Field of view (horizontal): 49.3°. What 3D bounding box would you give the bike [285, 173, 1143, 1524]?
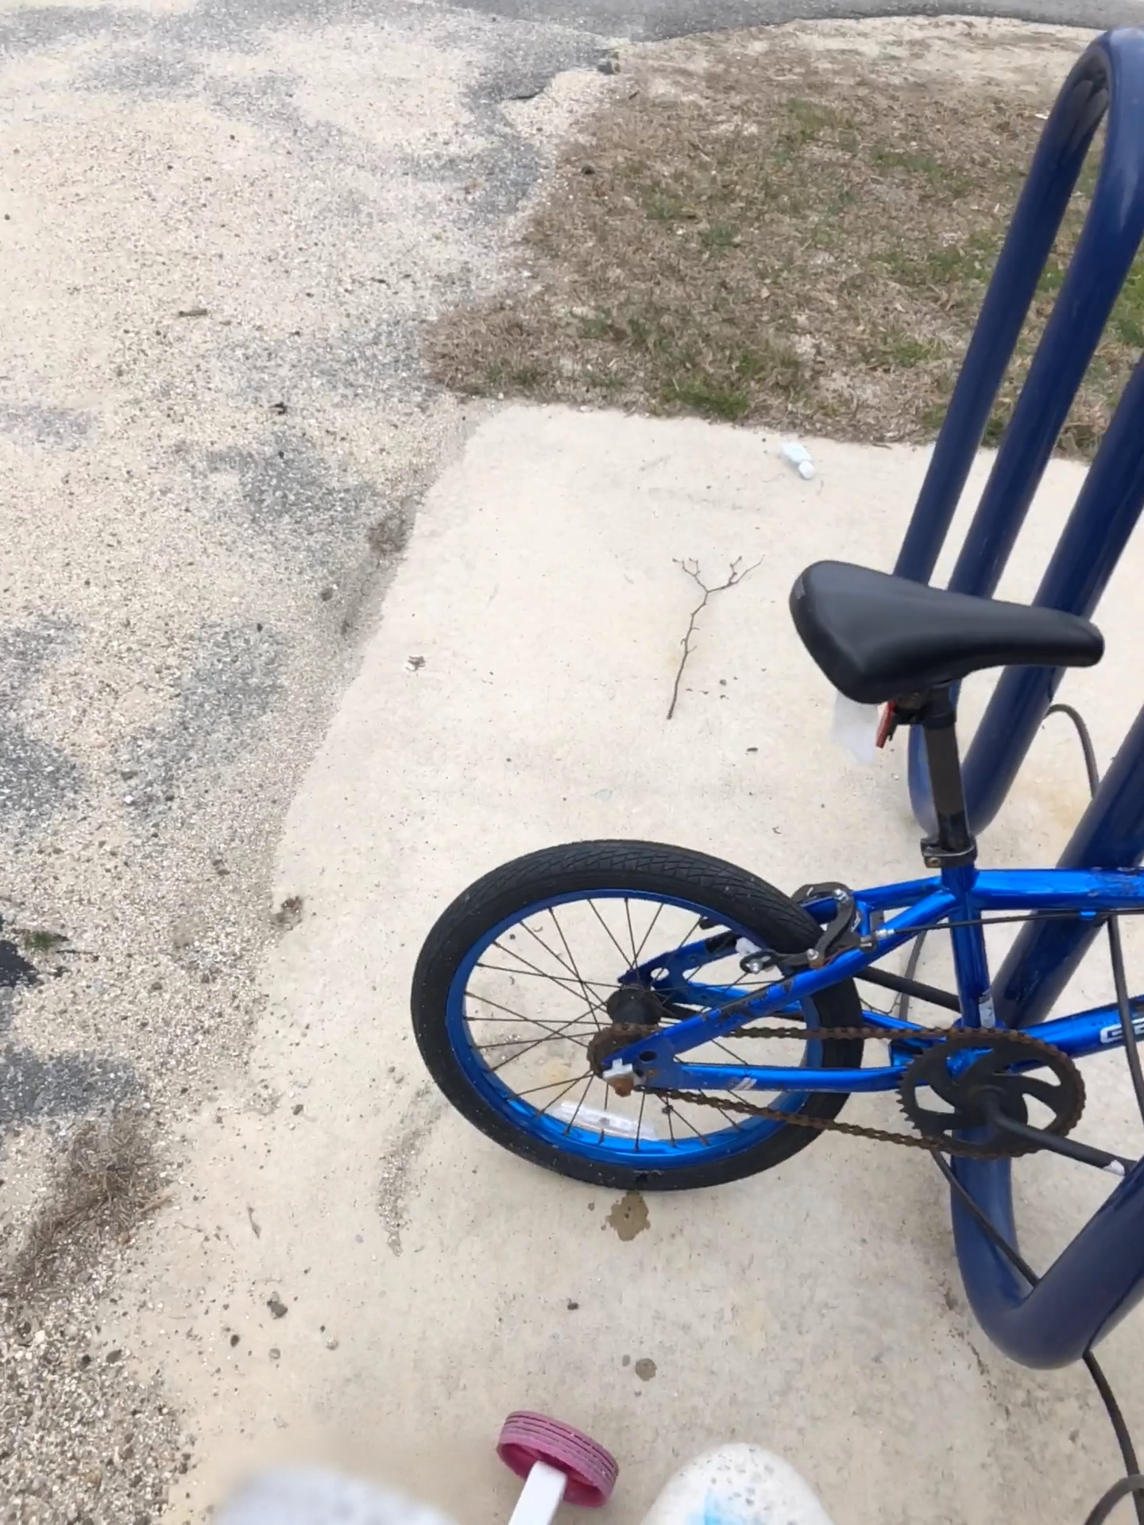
[{"bbox_3d":[0.370,0.145,1.050,1.028,0.840,0.625,16,44,12],"label":"bike"}]
